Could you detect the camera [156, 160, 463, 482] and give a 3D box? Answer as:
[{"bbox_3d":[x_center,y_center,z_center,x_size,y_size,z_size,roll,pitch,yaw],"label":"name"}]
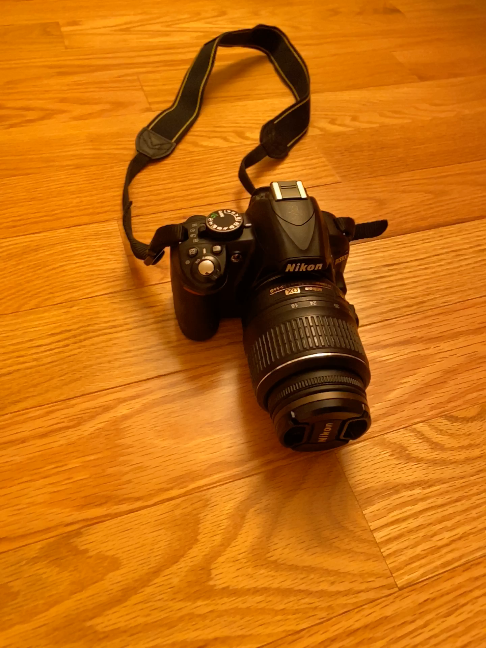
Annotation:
[{"bbox_3d":[0.022,-0.009,0.313,0.130,0.099,0.161,-7,52,-9],"label":"camera"}]
